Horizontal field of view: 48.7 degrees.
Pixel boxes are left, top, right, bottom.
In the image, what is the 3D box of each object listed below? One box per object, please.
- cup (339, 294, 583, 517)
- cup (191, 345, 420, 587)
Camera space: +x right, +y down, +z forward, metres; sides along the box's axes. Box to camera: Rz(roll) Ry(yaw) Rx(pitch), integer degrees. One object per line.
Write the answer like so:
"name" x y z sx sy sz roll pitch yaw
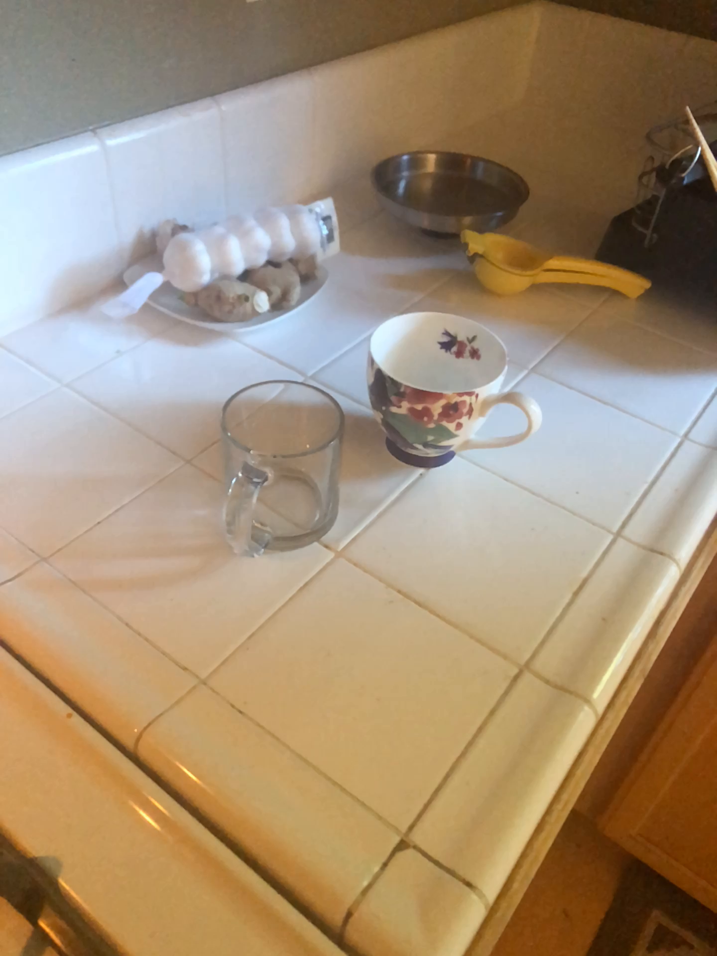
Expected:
"cup" 0.076 -0.062 0.617 0.140 0.079 0.111 35 50 27
"cup" -0.034 -0.013 0.554 0.100 0.079 0.131 22 45 17
